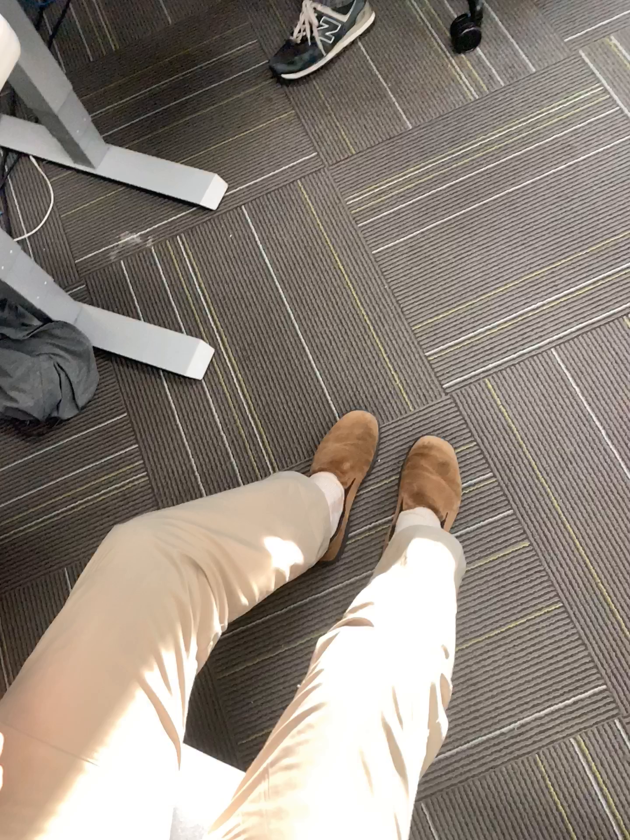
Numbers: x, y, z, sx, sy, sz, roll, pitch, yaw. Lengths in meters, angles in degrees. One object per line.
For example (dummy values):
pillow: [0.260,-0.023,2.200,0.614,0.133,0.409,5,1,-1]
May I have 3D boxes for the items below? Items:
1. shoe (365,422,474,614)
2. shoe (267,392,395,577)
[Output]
shoe: [0.188,0.171,1.139,0.120,0.077,0.307,12,76,14]
shoe: [0.034,0.117,1.180,0.119,0.077,0.307,20,78,16]
